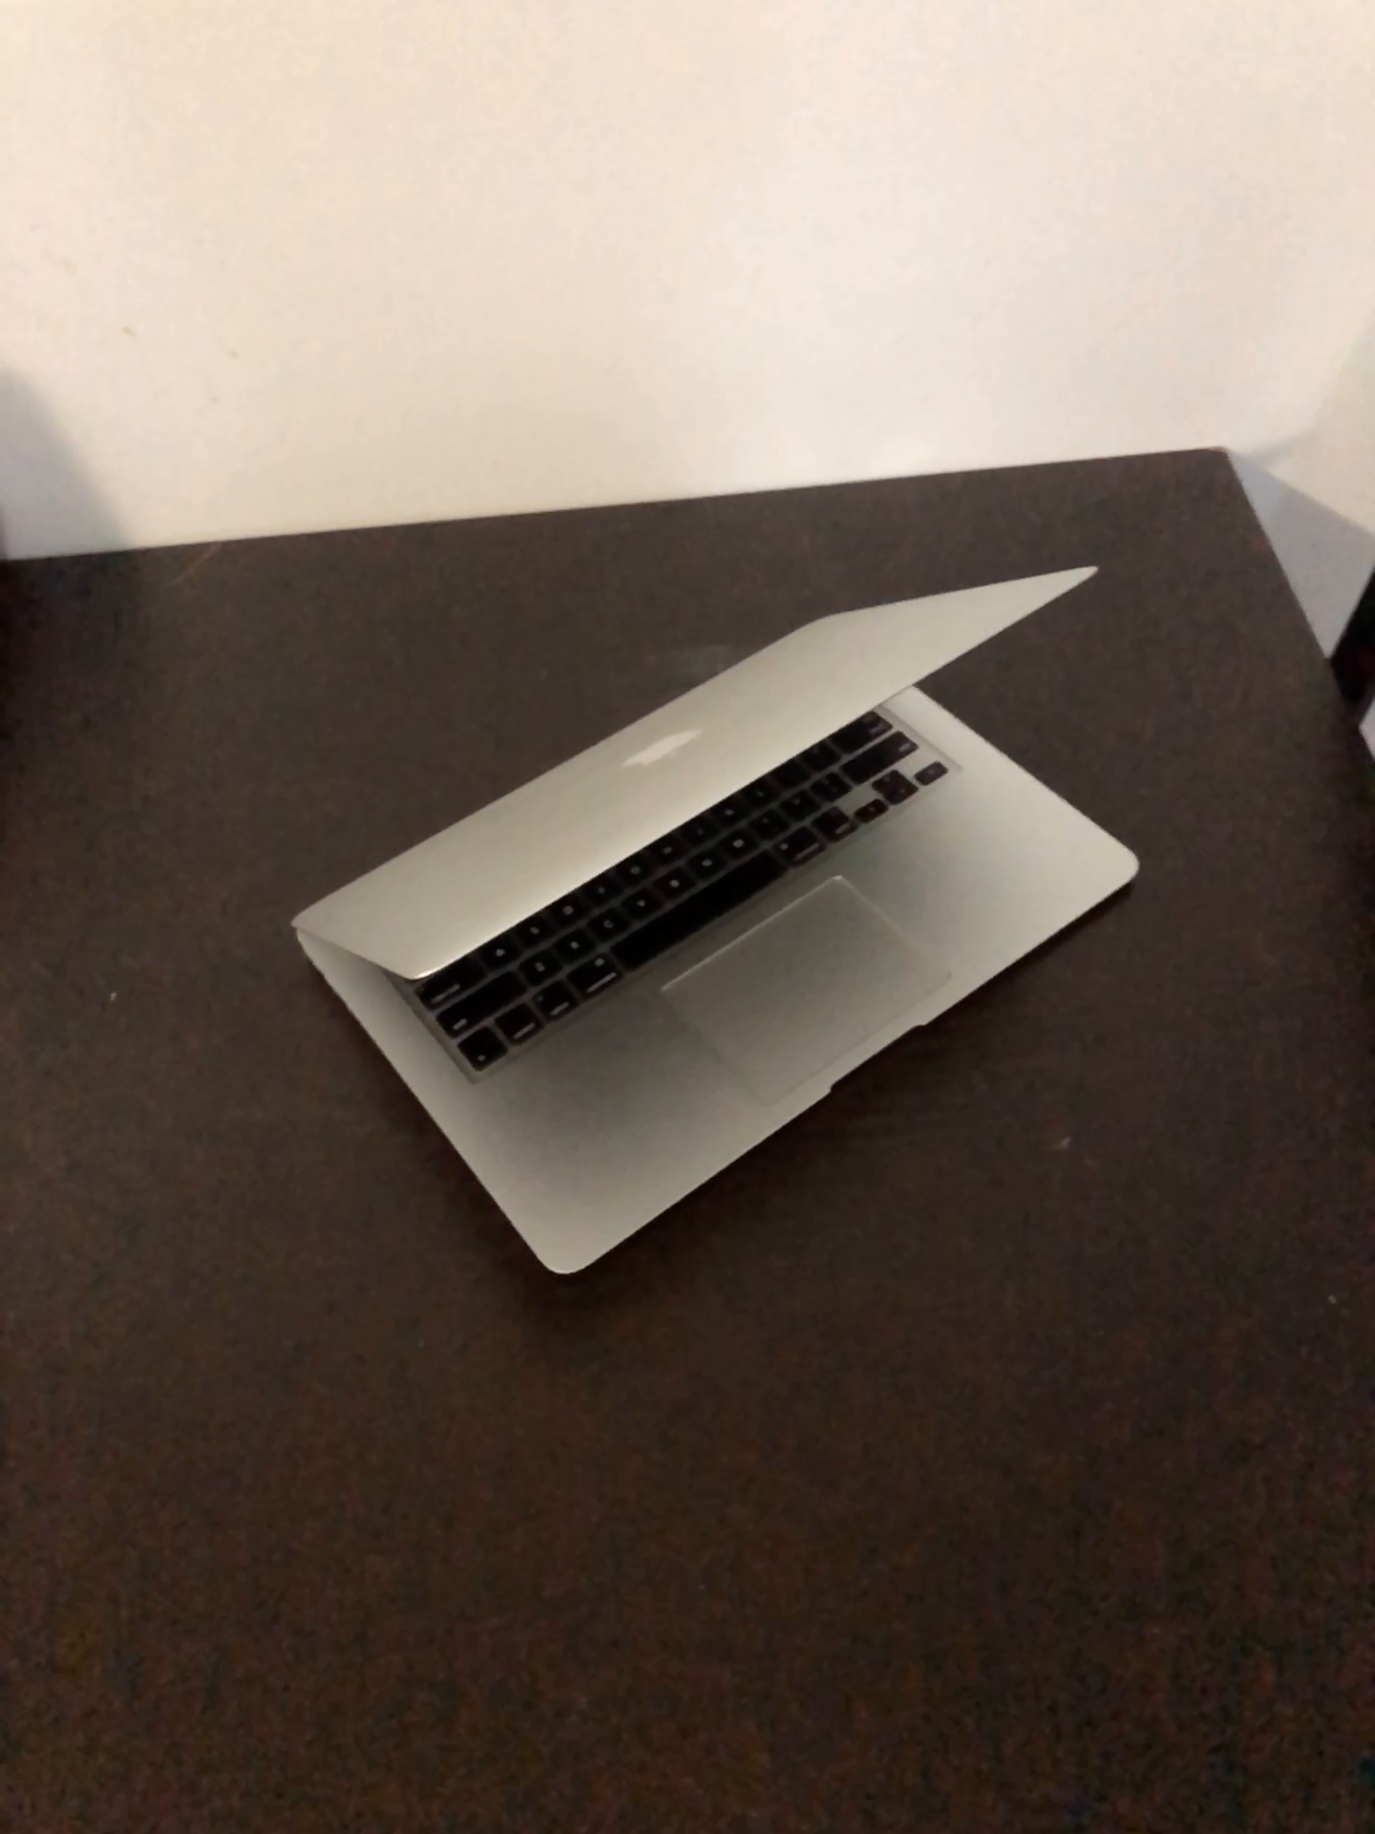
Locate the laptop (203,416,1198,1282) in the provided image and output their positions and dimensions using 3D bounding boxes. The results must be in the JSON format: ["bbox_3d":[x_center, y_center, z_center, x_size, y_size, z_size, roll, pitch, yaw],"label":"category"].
[{"bbox_3d":[0.009,-0.050,0.653,0.331,0.131,0.226,-31,53,-21],"label":"laptop"}]
